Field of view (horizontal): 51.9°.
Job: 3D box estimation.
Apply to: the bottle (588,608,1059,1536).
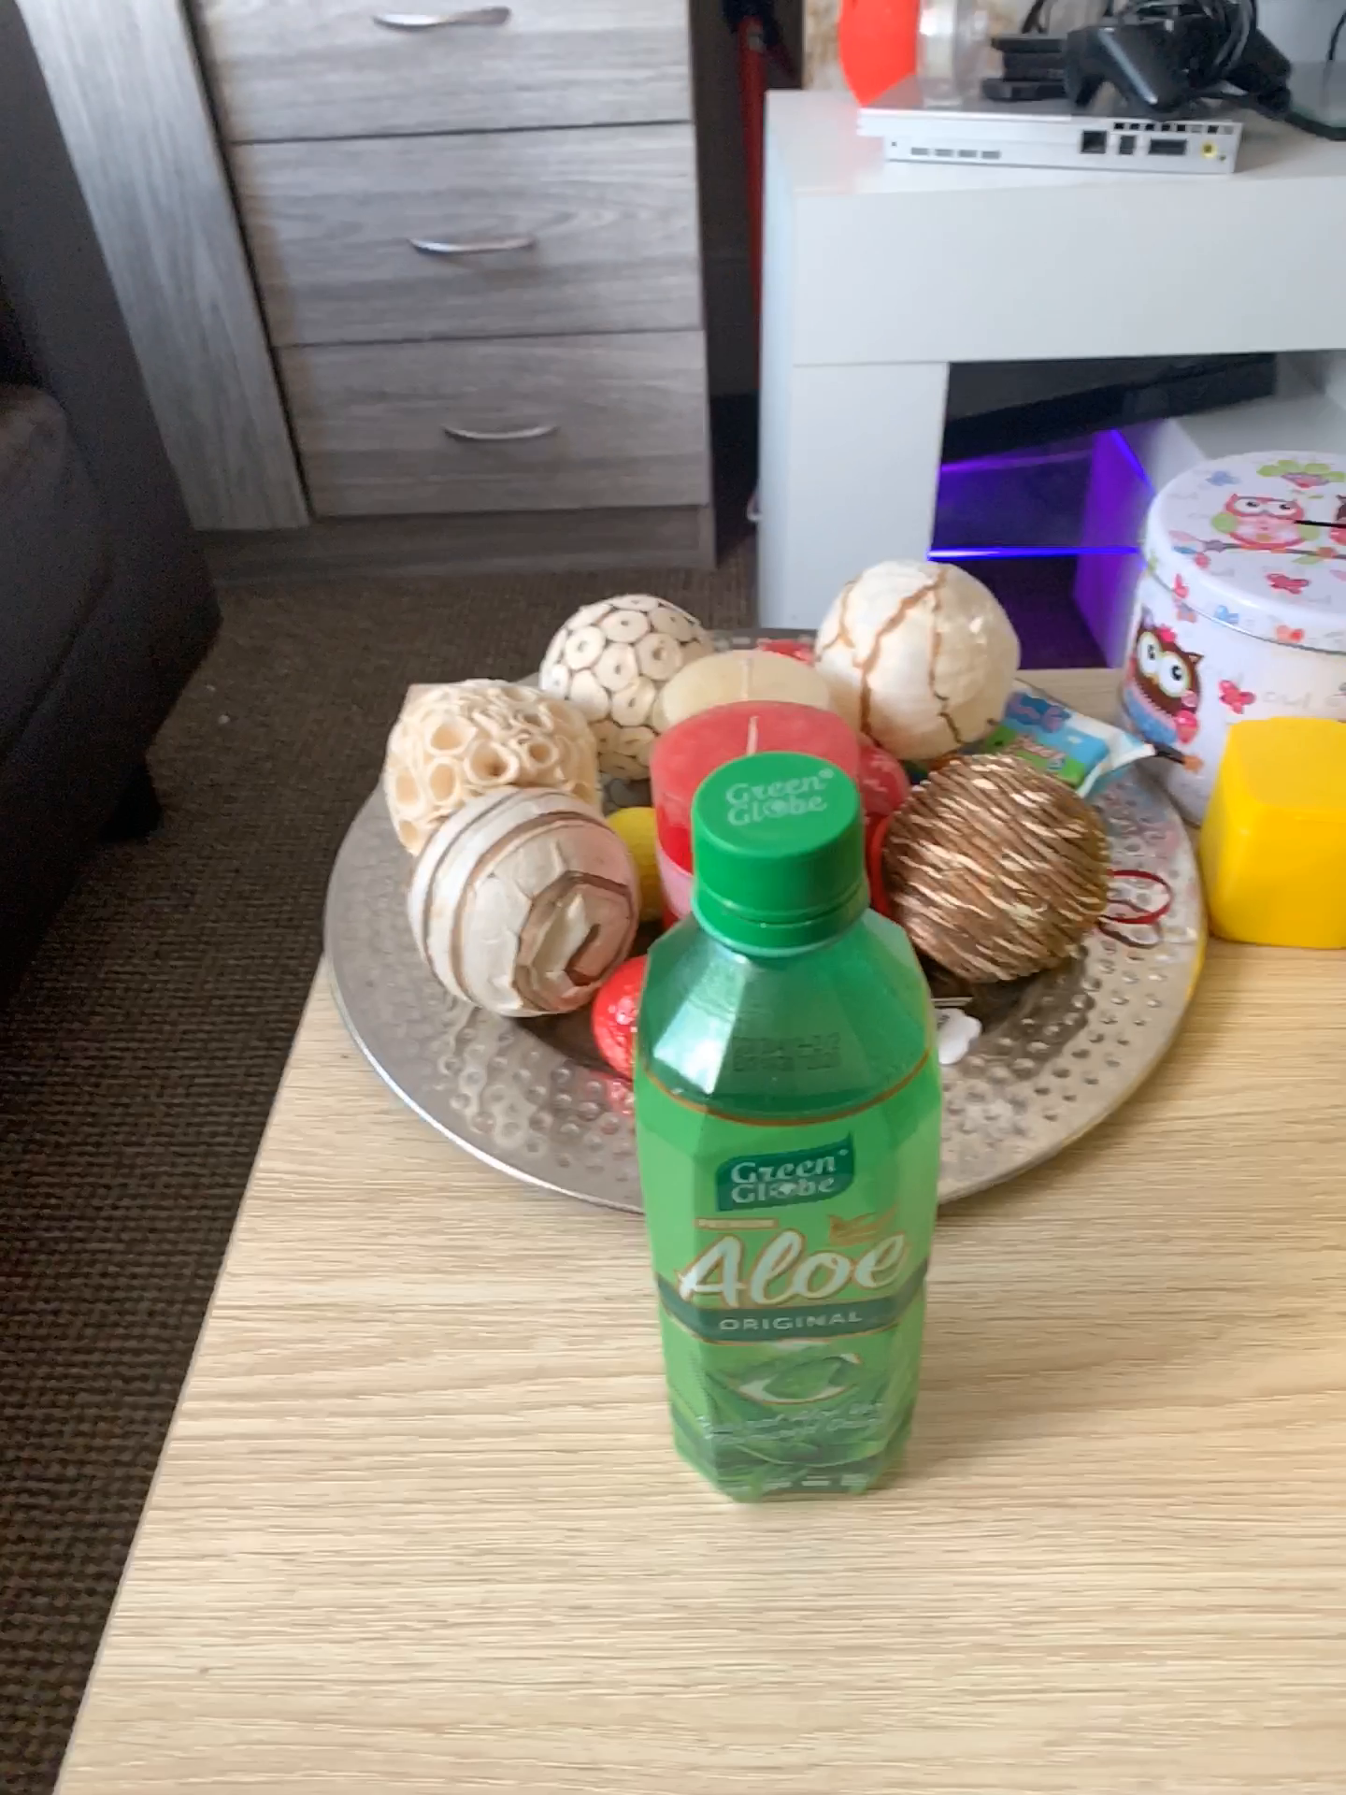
[{"bbox_3d":[0.026,0.053,0.303,0.070,0.218,0.071,-2,41,2],"label":"bottle"}]
